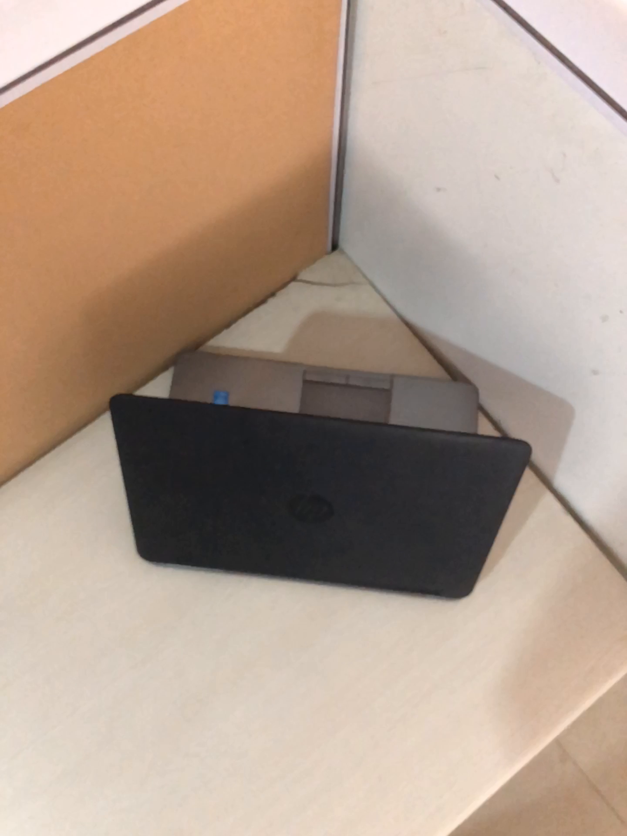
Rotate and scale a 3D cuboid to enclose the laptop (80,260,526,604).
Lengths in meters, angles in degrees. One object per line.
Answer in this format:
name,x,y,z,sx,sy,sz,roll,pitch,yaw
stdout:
laptop,0.001,0.027,0.623,0.318,0.193,0.227,6,74,1
